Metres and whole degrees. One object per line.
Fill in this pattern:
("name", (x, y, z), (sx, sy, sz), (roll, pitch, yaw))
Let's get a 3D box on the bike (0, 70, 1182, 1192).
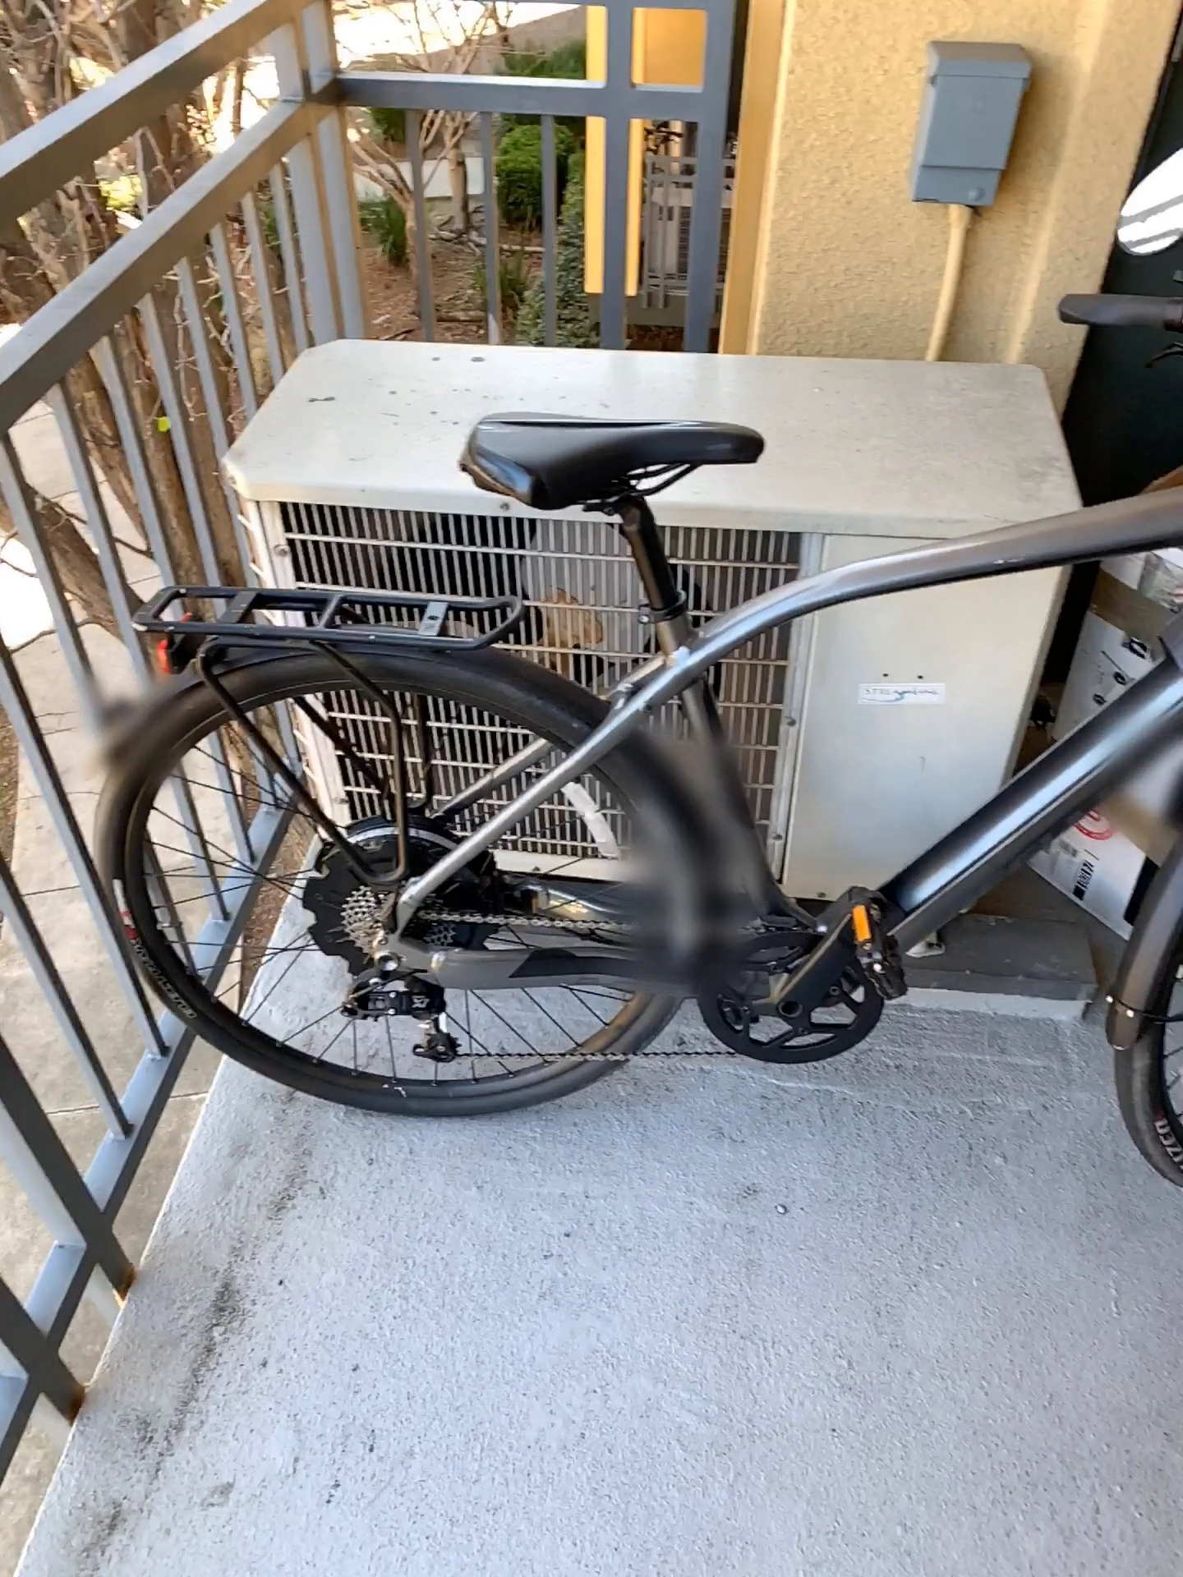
("bike", (0.291, -0.114, 1.301), (1.582, 0.971, 0.625), (0, 44, -3))
